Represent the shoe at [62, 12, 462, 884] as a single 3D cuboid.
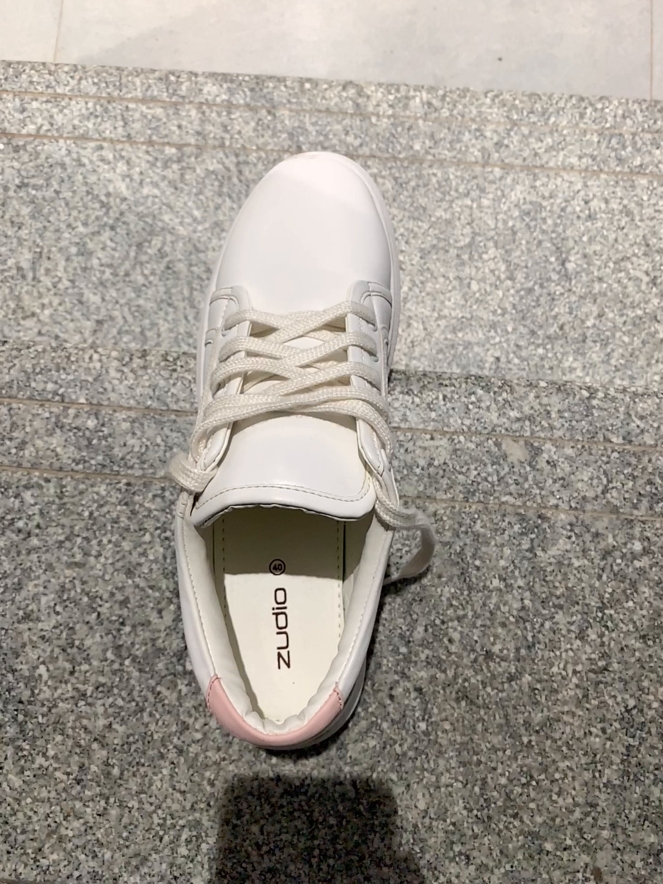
[{"bbox_3d":[-0.017,-0.002,0.283,0.110,0.110,0.290,4,83,2],"label":"shoe"}]
